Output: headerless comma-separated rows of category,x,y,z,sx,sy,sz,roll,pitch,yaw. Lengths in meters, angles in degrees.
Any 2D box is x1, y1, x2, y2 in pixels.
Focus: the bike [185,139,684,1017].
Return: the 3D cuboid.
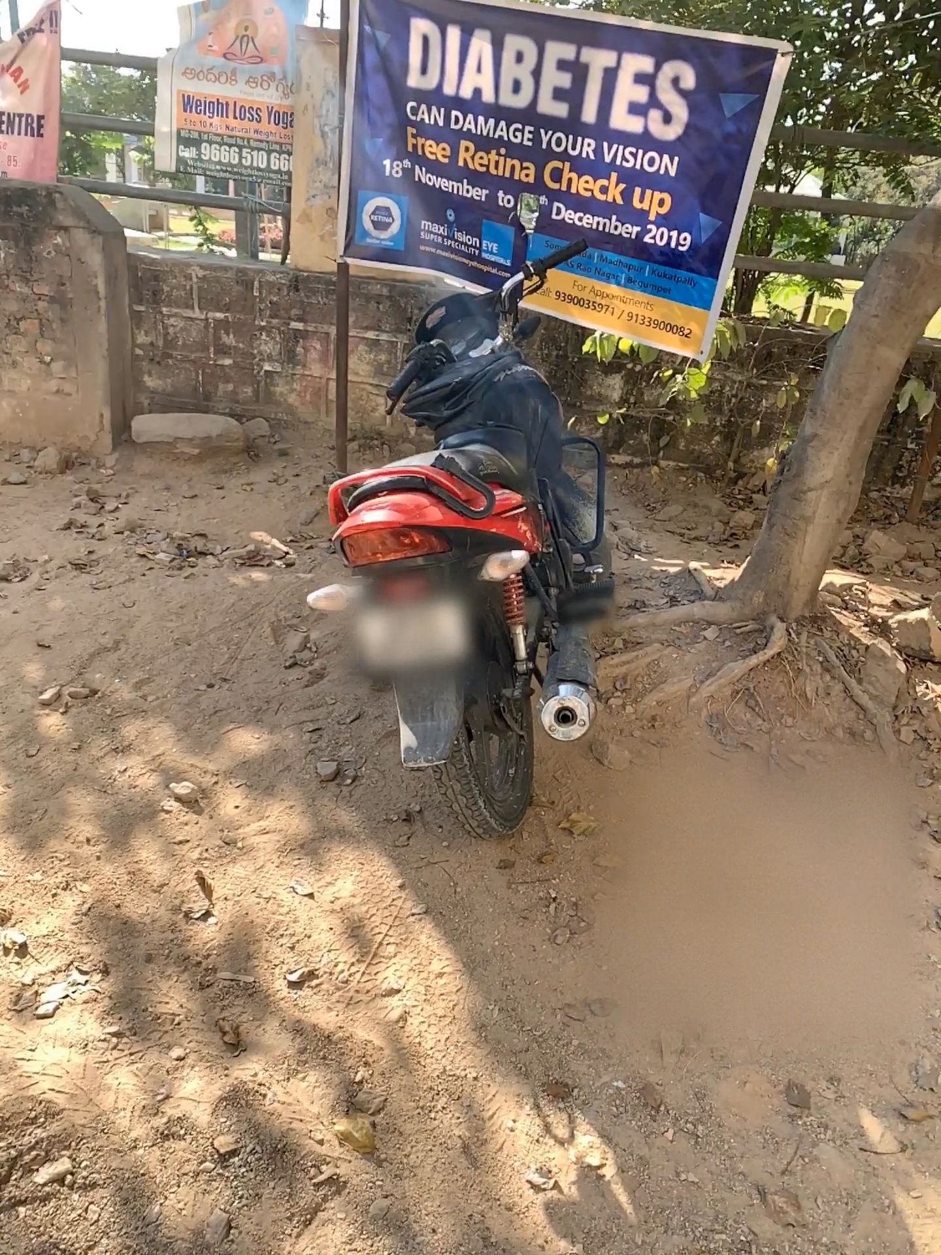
bike,-0.102,-0.332,2.406,0.751,1.442,1.623,6,27,0
